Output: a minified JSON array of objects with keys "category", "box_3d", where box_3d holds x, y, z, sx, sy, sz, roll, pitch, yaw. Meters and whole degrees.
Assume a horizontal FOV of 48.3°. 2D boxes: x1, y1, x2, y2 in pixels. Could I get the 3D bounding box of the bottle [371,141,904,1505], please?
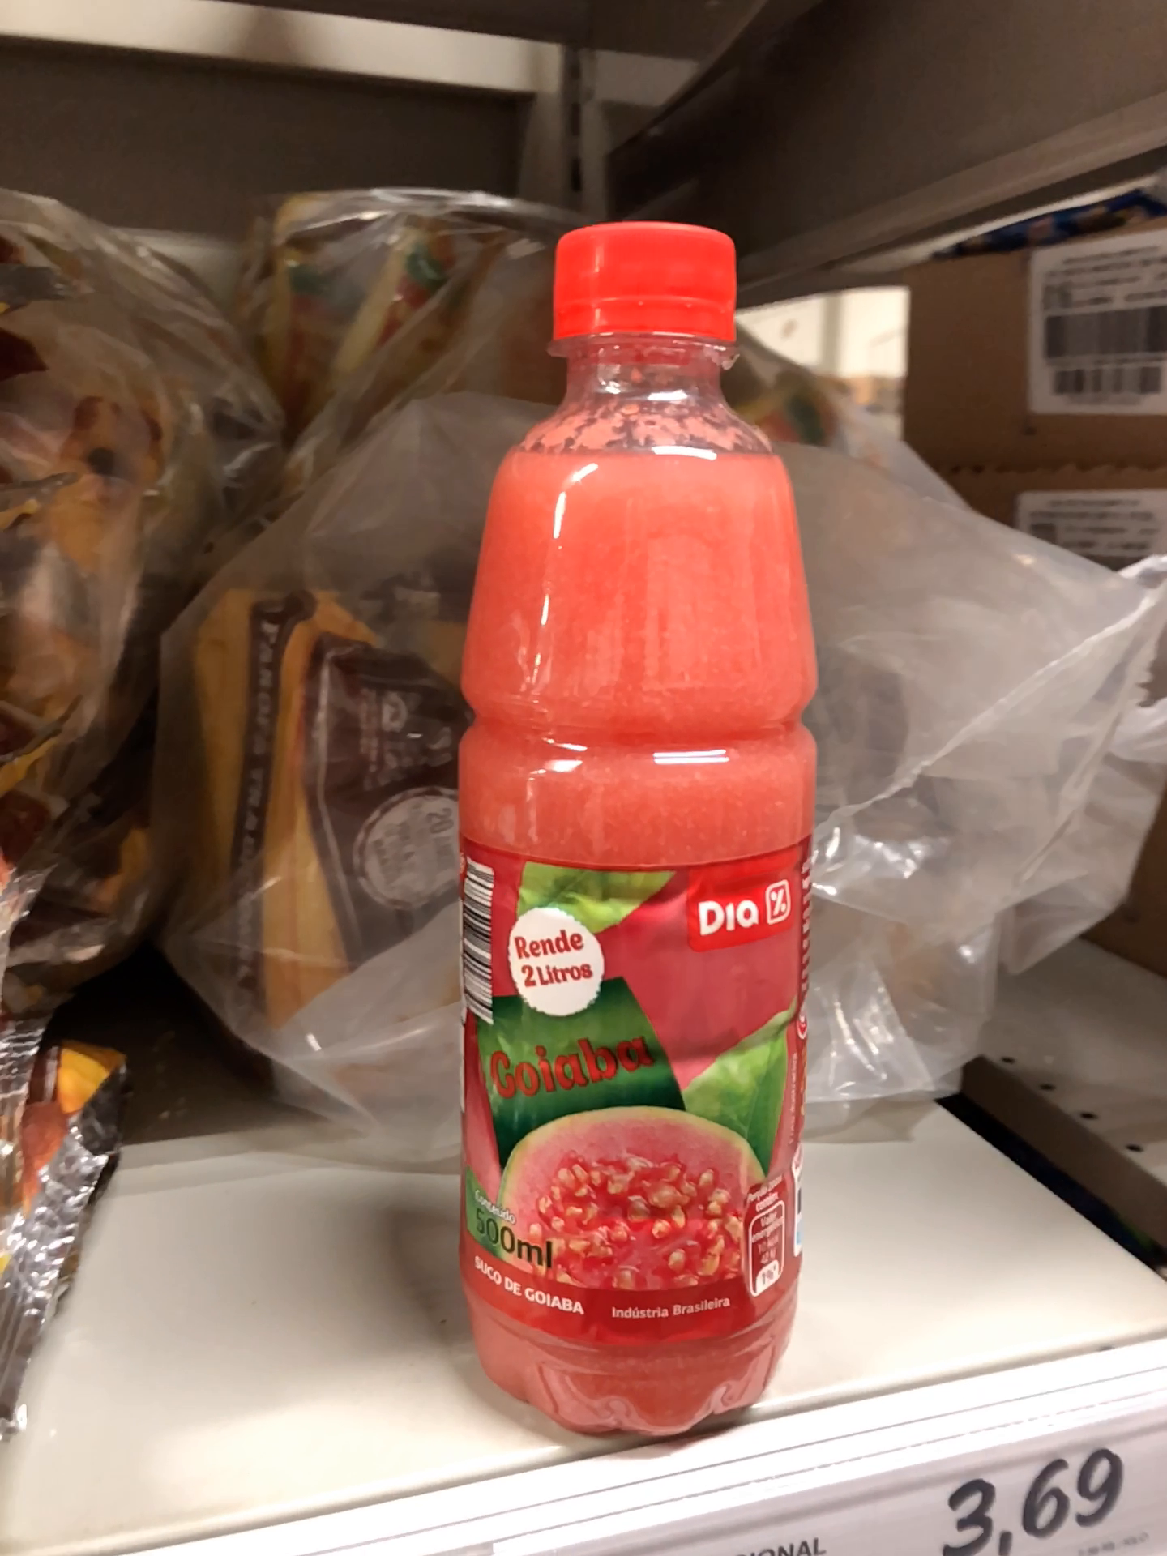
[{"category":"bottle","box_3d":[0.009,0.008,0.250,0.070,0.219,0.070,2,11,0]}]
